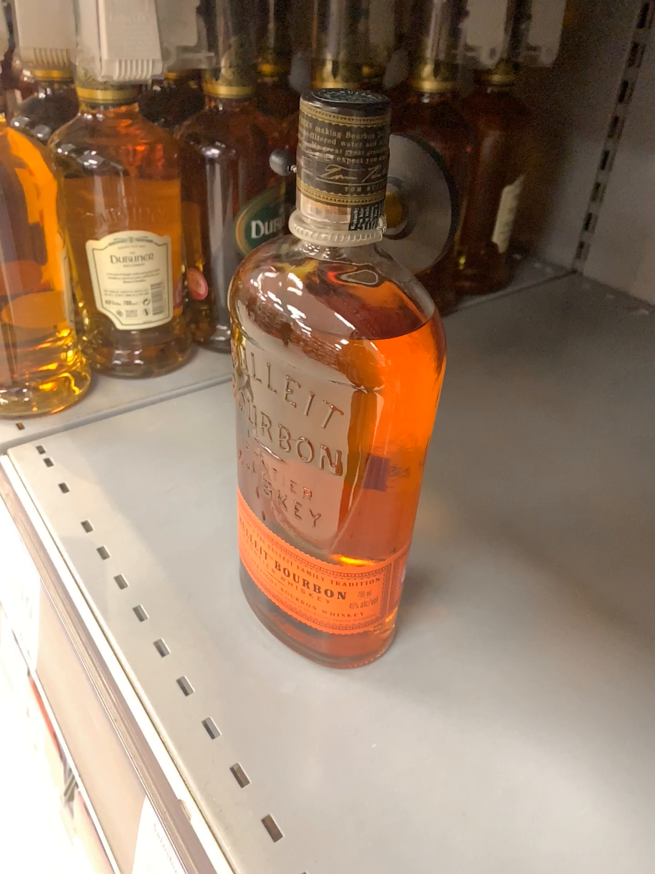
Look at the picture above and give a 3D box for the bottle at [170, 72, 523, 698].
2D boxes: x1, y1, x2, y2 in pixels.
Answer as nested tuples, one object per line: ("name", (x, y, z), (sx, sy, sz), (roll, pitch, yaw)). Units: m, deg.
("bottle", (-0.004, -0.013, 0.279), (0.060, 0.228, 0.101), (-24, 44, -34))
